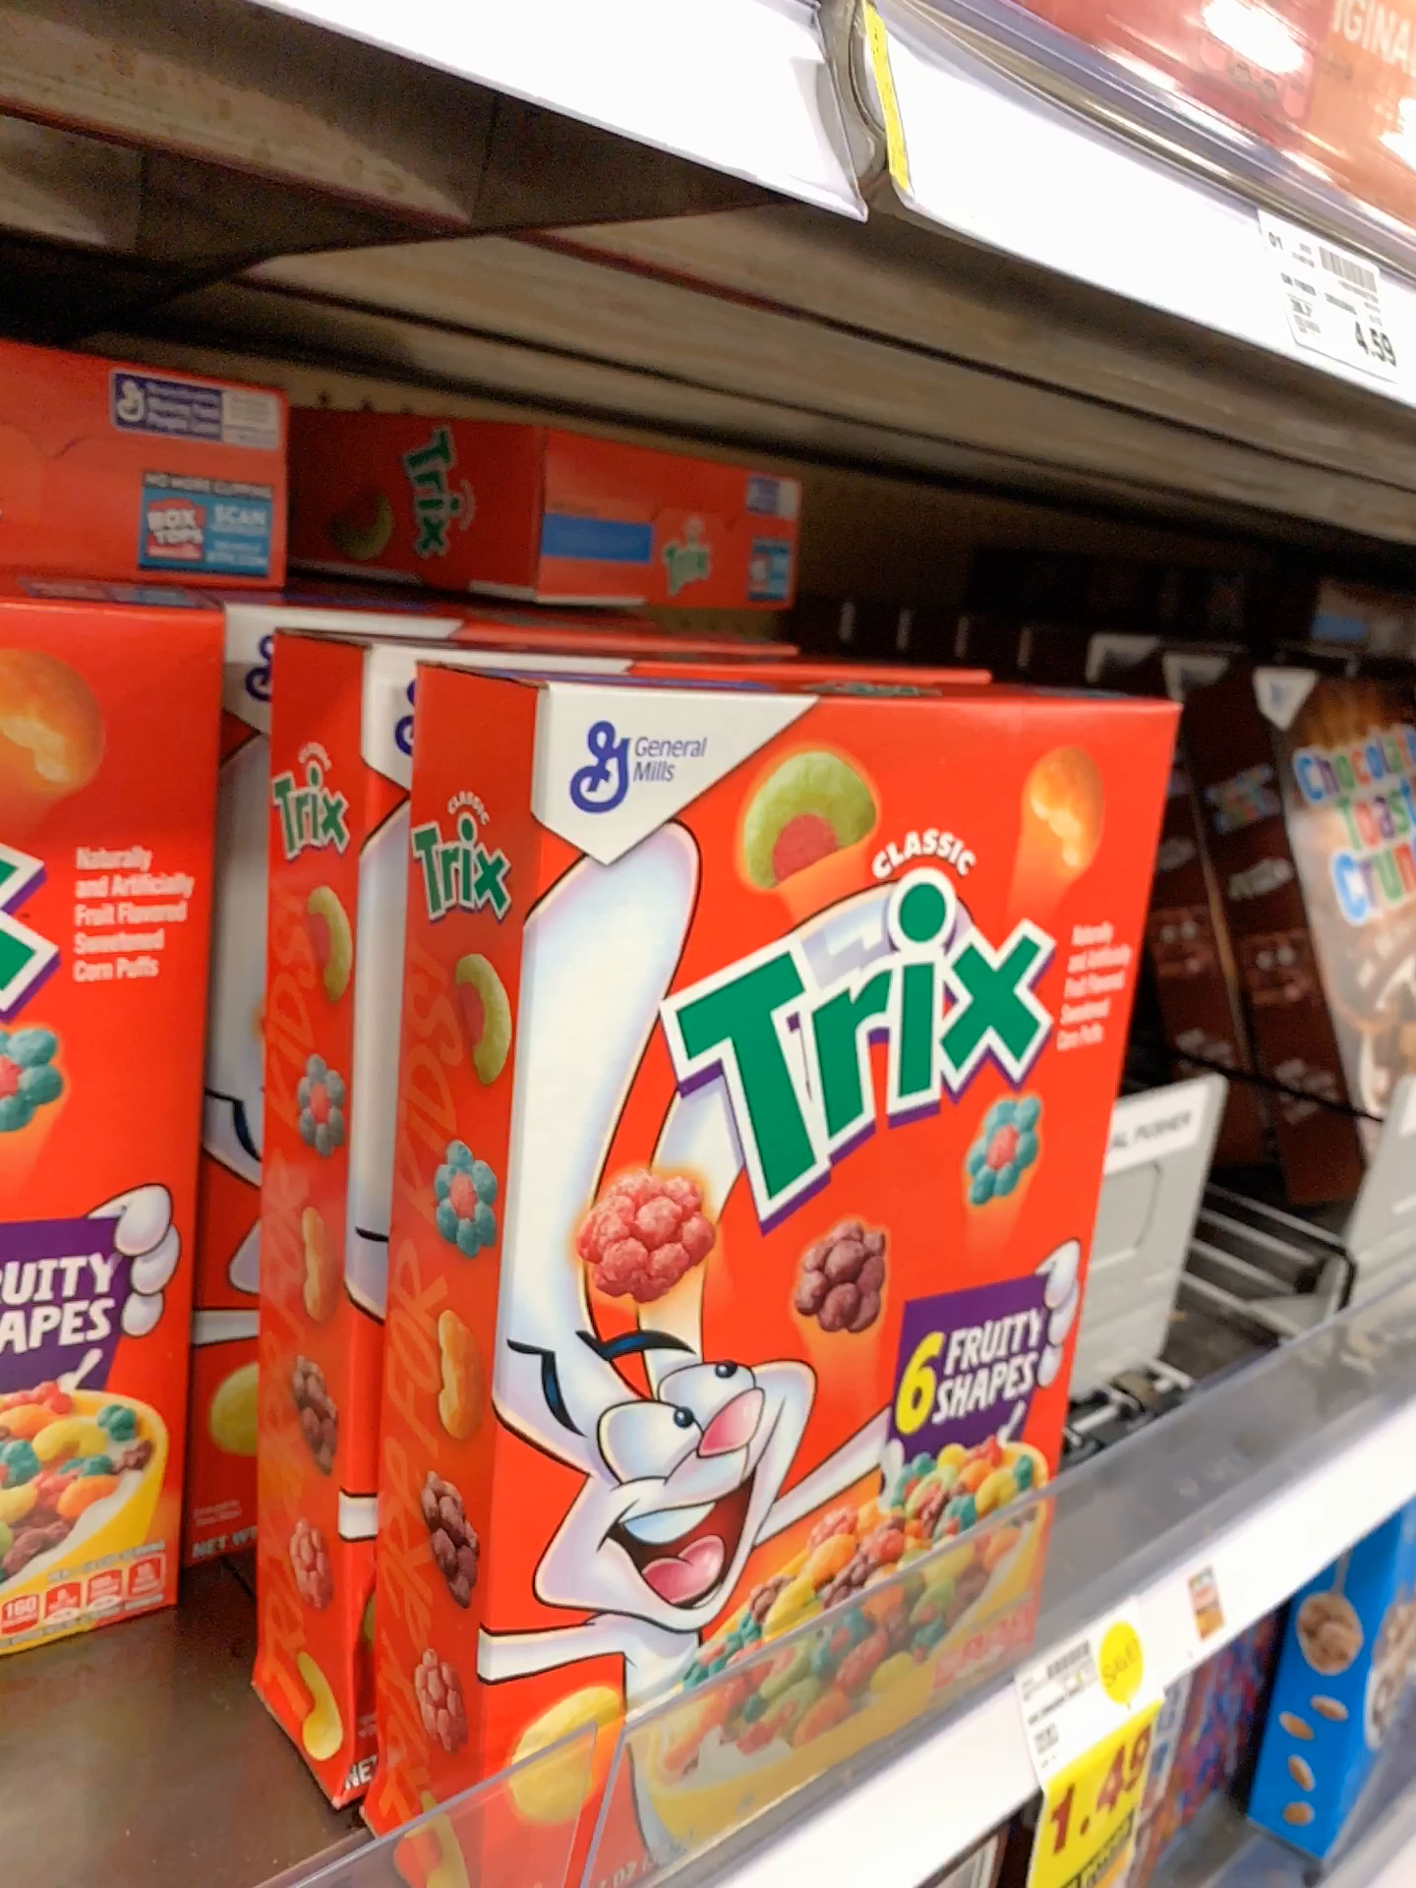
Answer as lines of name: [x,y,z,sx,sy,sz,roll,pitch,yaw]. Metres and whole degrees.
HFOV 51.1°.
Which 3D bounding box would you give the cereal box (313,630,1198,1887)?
cereal box: [0.015,0.077,0.371,0.200,0.289,0.060,-6,18,-41]
